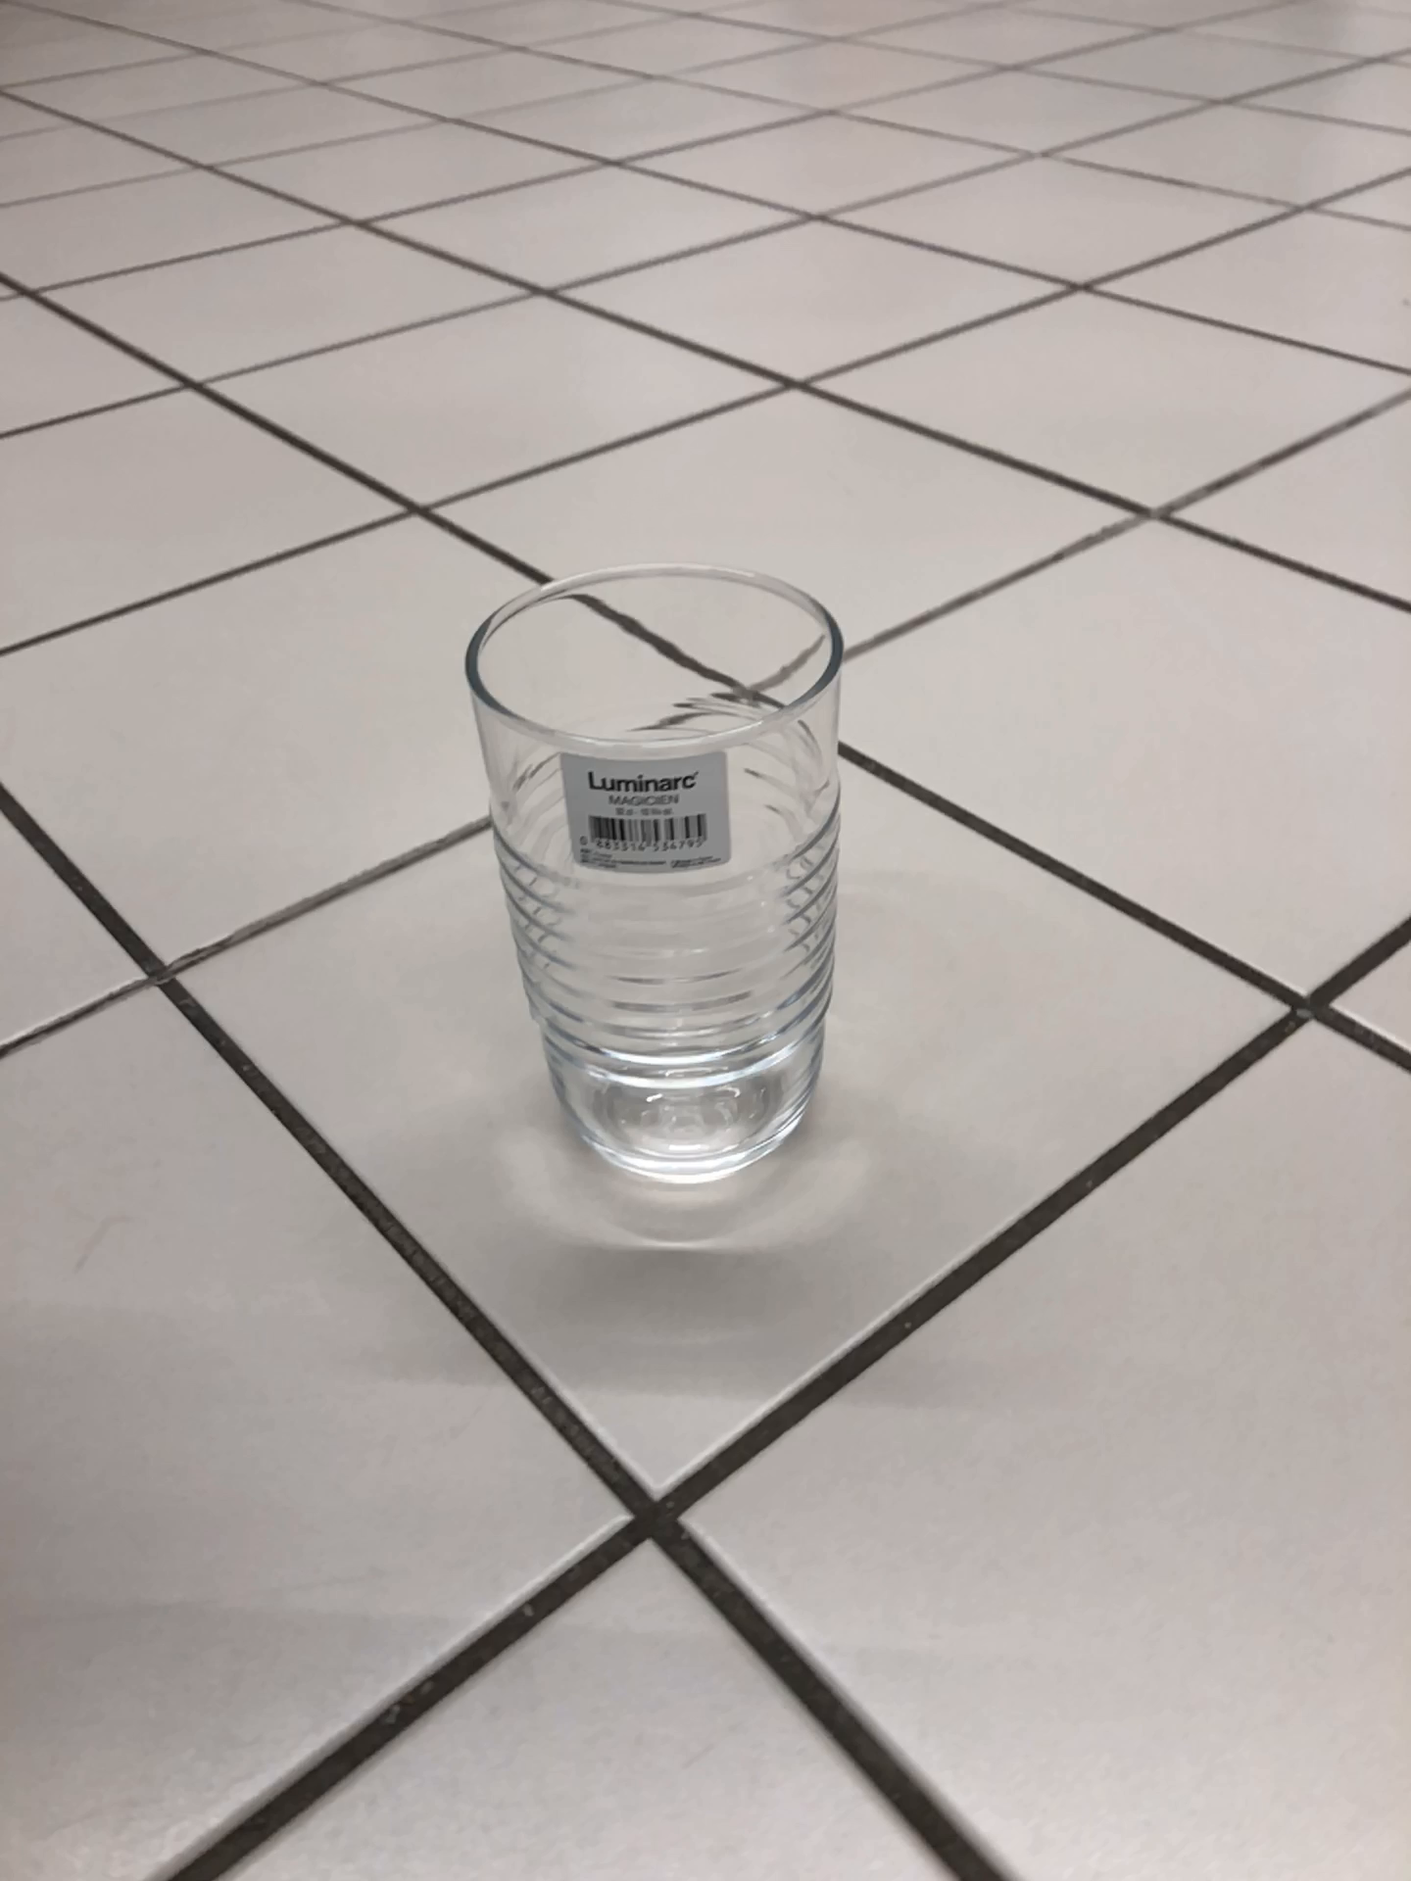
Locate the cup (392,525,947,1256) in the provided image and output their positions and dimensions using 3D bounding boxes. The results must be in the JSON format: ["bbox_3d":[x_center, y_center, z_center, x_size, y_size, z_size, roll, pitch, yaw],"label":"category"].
[{"bbox_3d":[-0.008,-0.011,0.308,0.079,0.104,0.077,-2,38,1],"label":"cup"}]
